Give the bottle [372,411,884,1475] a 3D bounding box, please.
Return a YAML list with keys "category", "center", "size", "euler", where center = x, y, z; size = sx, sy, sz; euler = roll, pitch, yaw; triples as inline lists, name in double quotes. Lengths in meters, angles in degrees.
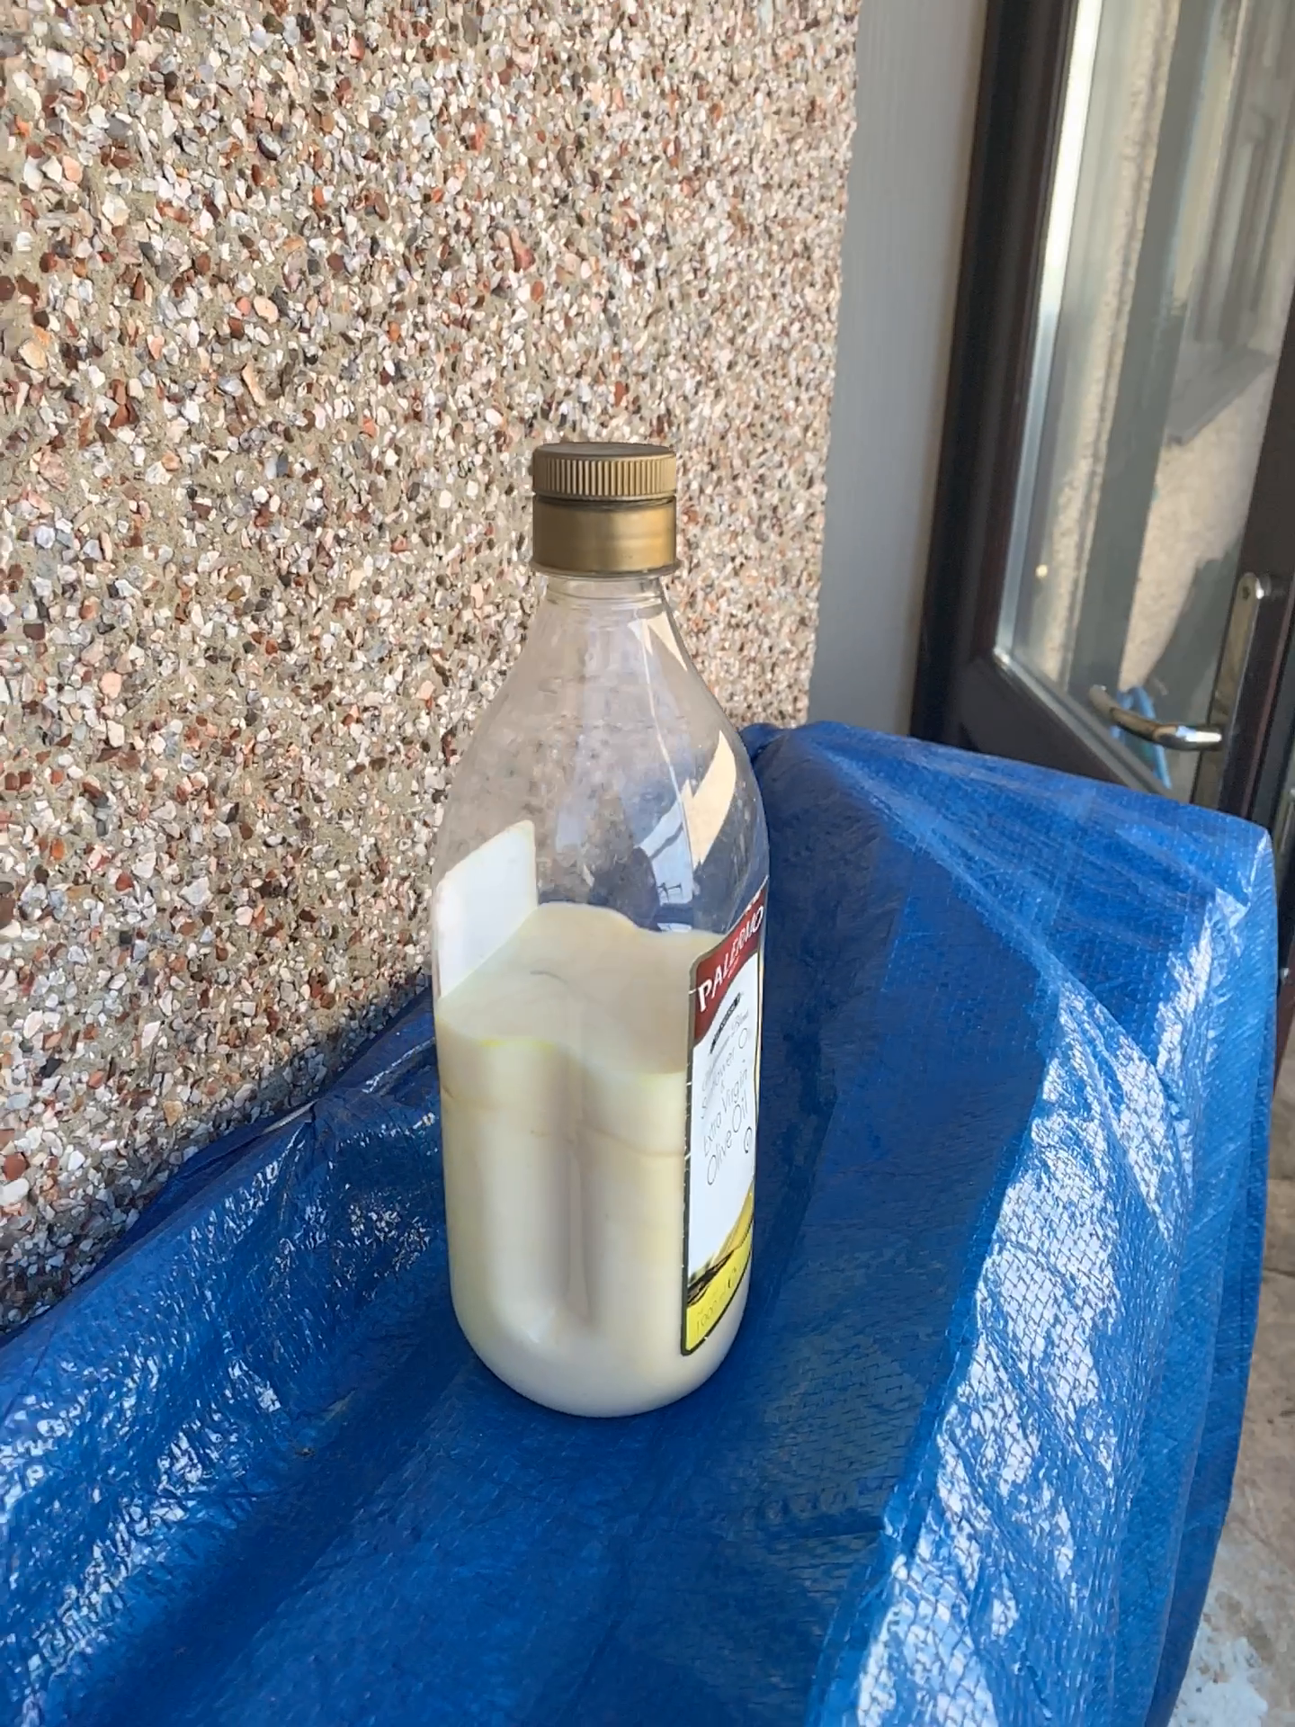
- category: "bottle"
  center: [-0.003, 0.020, 0.330]
  size: [0.080, 0.238, 0.081]
  euler: [1, 25, 0]
